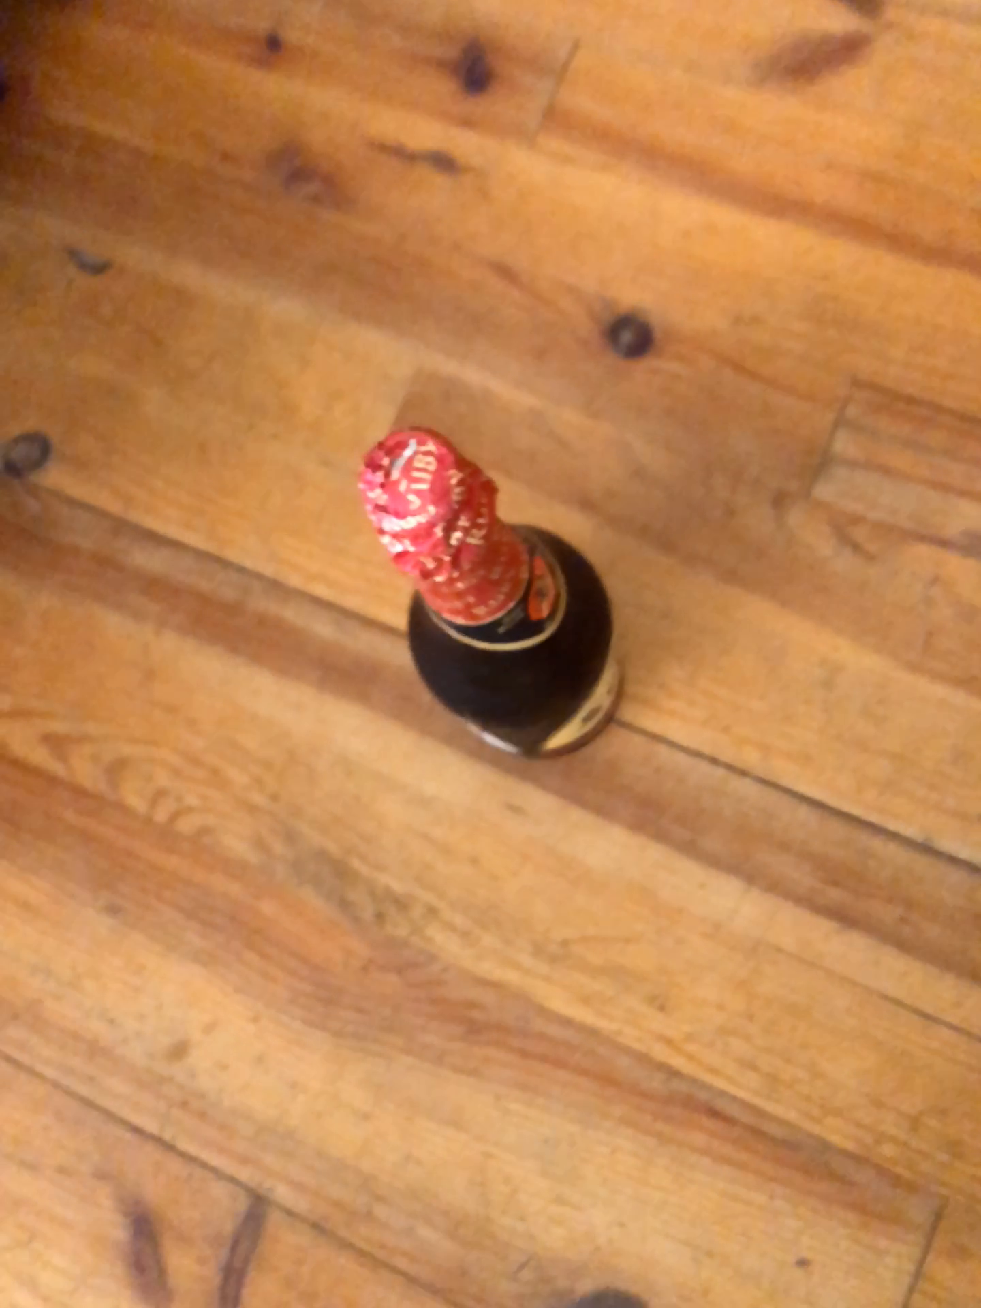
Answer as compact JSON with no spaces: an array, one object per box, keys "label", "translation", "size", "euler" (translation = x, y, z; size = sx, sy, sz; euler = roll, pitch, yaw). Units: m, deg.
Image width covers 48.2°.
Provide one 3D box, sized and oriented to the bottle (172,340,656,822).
[{"label":"bottle","translation":[0.002,0.001,0.401],"size":[0.090,0.290,0.090],"euler":[-2,80,9]}]
